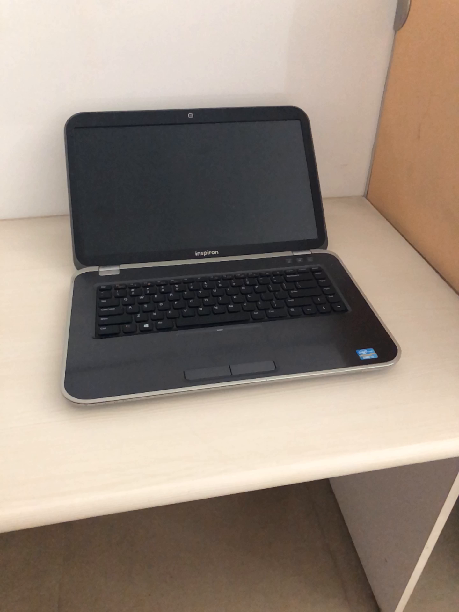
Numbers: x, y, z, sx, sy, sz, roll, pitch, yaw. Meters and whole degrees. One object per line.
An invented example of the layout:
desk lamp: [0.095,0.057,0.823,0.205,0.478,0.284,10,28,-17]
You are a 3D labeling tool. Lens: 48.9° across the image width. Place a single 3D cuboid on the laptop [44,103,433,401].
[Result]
laptop: [-0.022,-0.109,0.634,0.339,0.152,0.411,-6,38,-9]
